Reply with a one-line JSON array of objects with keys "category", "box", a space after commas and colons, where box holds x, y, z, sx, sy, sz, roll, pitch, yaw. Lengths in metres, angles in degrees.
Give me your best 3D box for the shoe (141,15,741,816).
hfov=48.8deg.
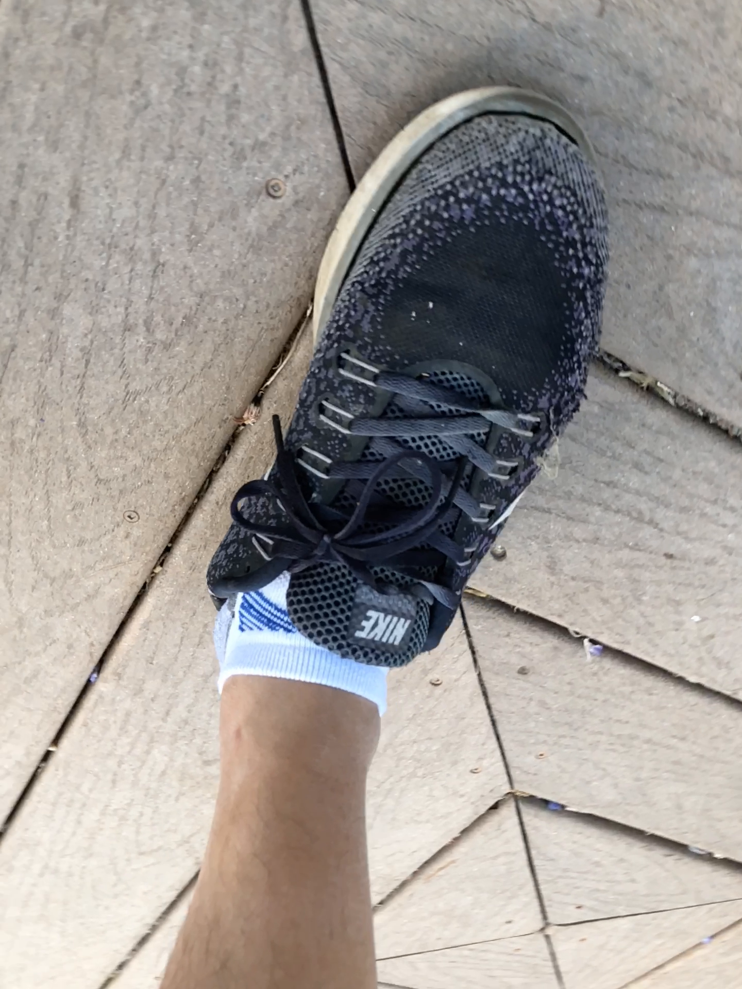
[{"category": "shoe", "box": [0.008, -0.009, 0.343, 0.130, 0.100, 0.301, 16, 121, -13]}]
